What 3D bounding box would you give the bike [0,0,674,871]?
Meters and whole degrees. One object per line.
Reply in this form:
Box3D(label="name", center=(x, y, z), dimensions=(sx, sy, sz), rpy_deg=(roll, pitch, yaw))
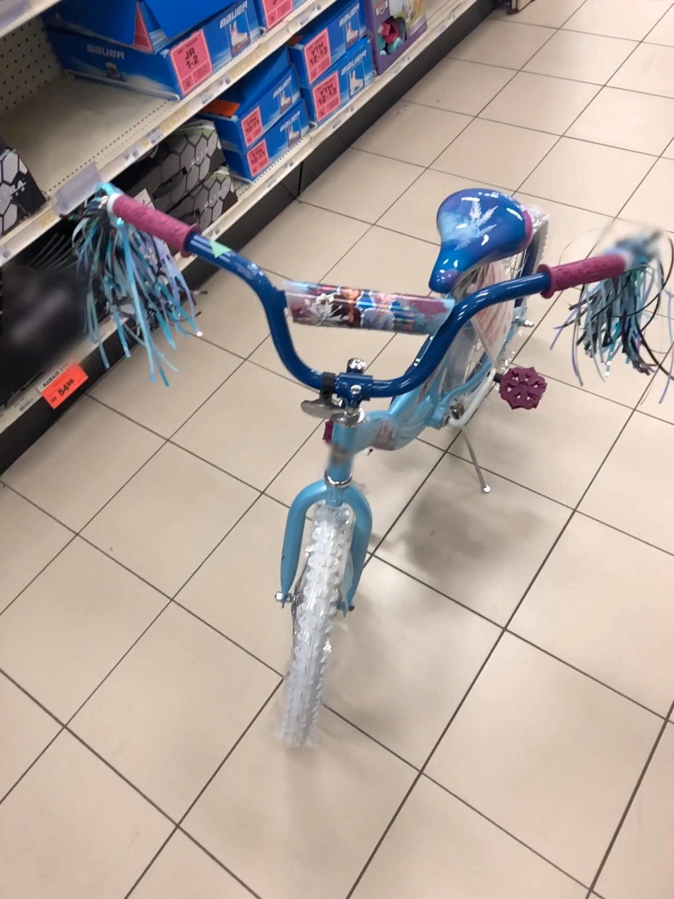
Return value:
Box3D(label="bike", center=(0.175, -0.141, 1.190), dimensions=(0.641, 0.953, 1.178), rpy_deg=(17, 56, 22))
